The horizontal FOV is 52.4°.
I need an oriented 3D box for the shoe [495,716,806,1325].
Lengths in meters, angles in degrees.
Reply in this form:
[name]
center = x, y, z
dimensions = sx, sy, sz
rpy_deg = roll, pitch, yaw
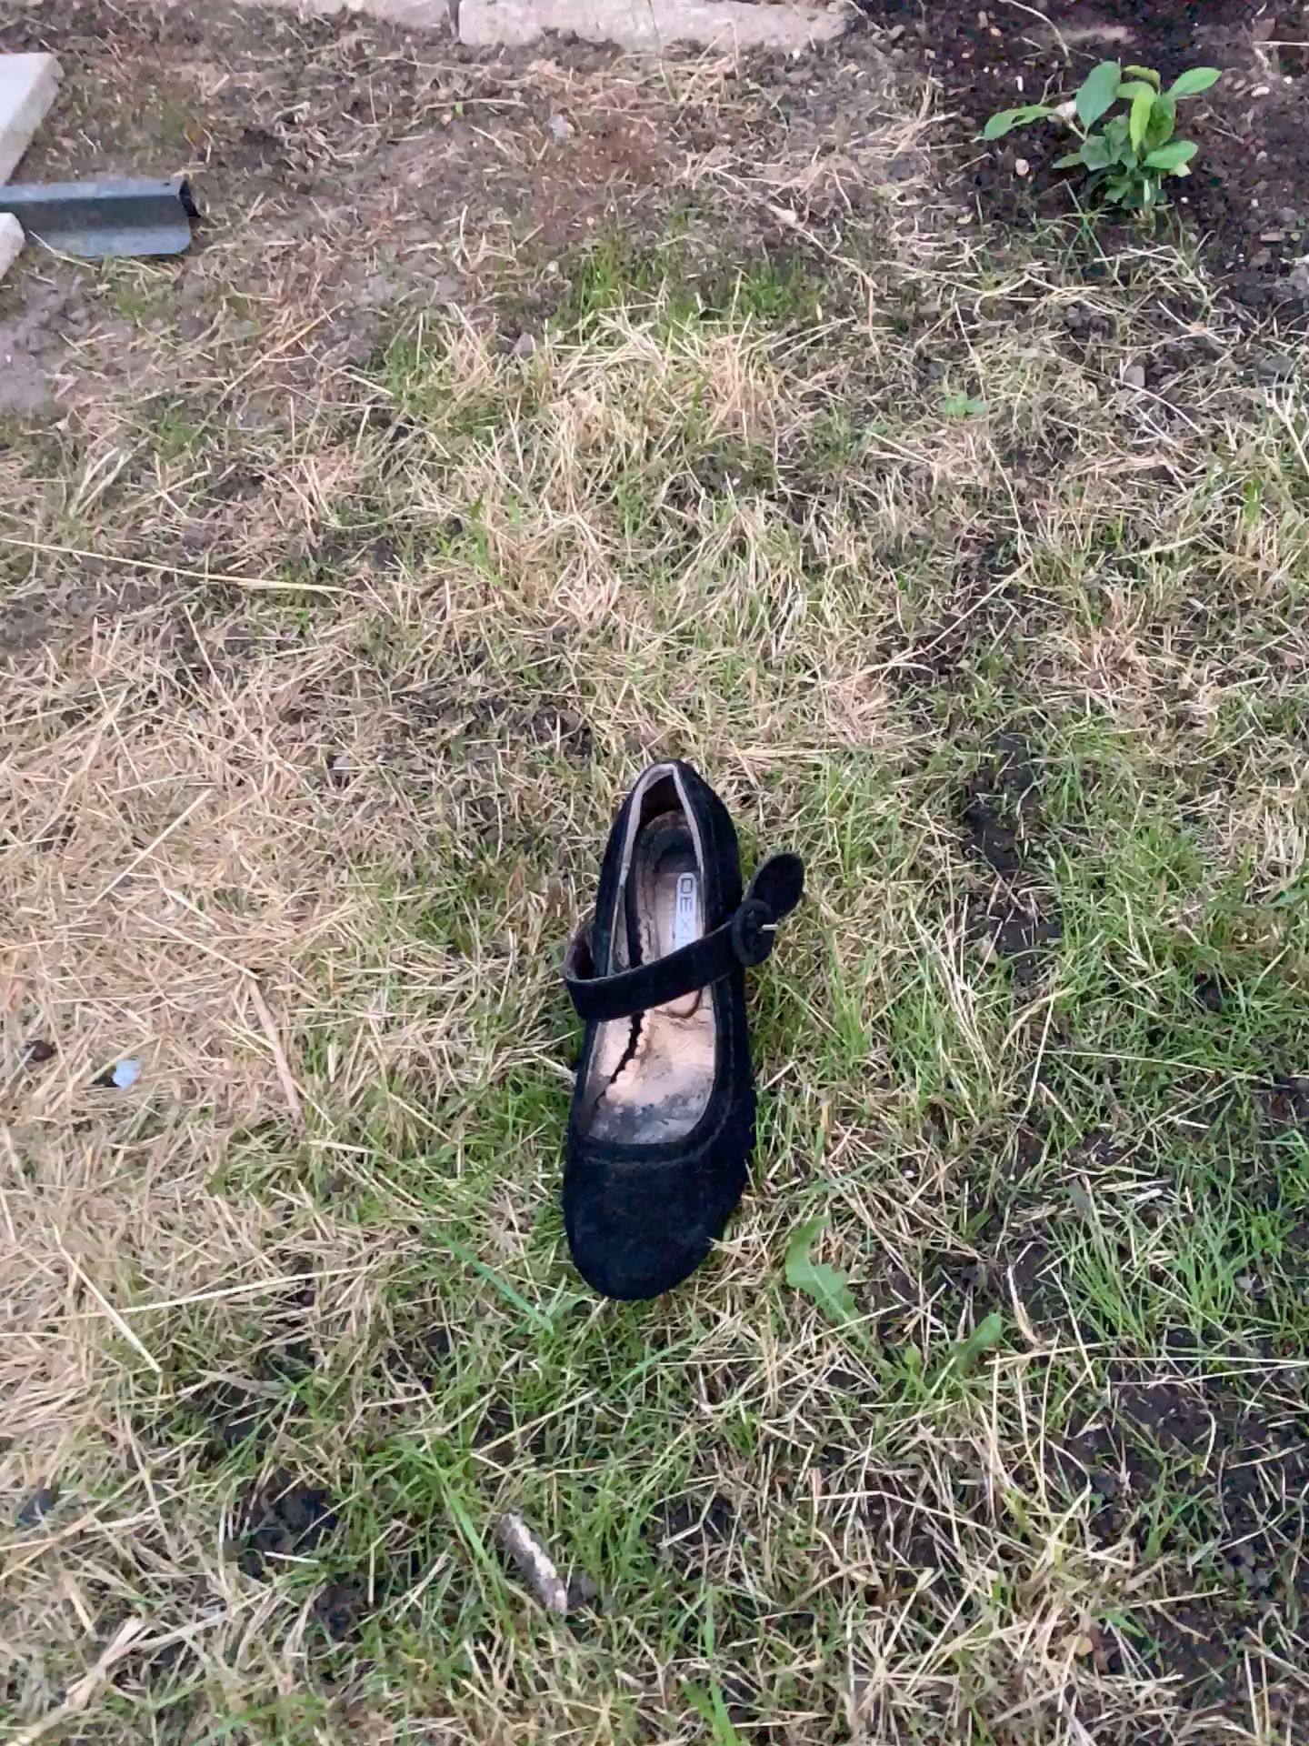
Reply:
[shoe]
center = 0.010, 0.059, 0.608
dimensions = 0.110, 0.109, 0.252
rpy_deg = 2, 53, 6
